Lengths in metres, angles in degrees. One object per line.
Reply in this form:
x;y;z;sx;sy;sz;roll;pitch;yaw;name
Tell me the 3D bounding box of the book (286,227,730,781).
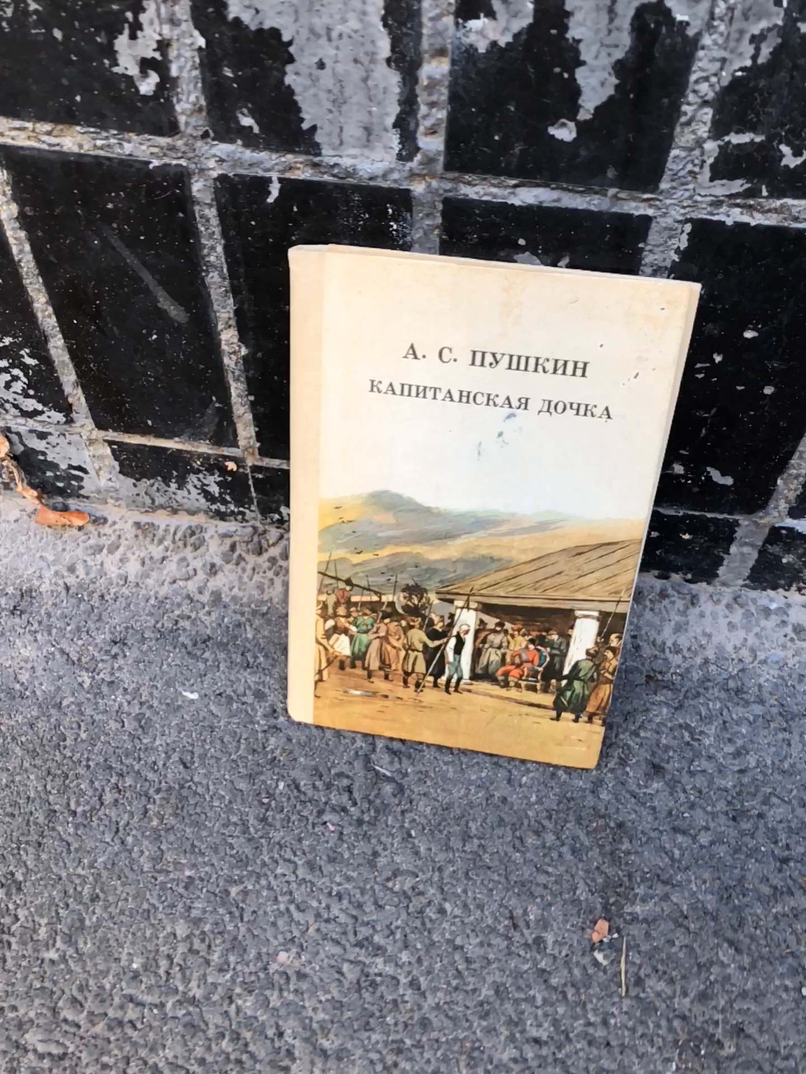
0.029;-0.003;0.360;0.145;0.215;0.023;8;28;5;book
